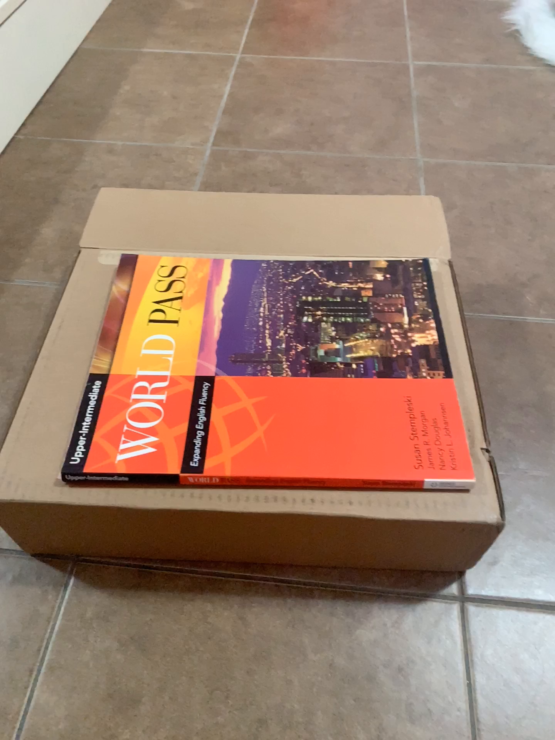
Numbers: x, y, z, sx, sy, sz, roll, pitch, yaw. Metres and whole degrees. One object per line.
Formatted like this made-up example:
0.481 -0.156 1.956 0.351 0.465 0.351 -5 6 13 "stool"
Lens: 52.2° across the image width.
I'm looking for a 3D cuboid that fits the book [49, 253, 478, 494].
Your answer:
-0.007 -0.010 0.429 0.270 0.018 0.211 1 52 1 "book"
